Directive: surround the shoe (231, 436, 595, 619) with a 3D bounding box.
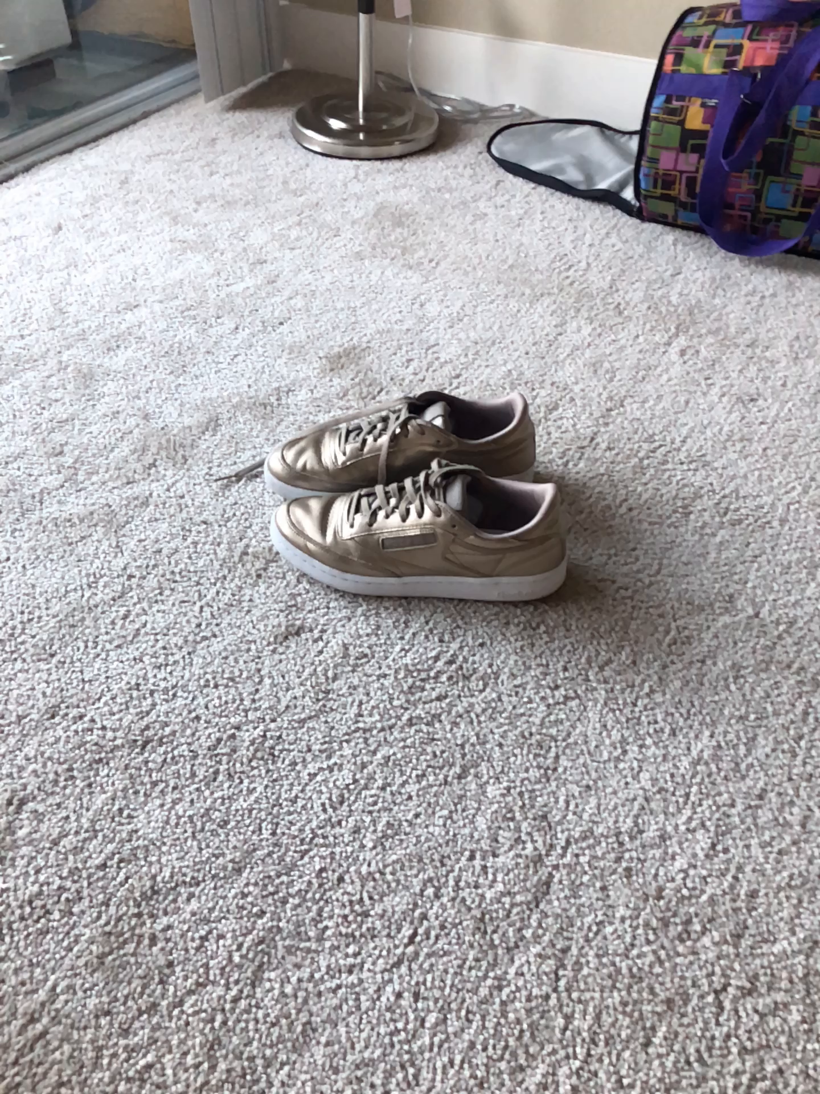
[{"bbox_3d":[0.006,-0.019,0.754,0.280,0.070,0.110,6,43,4],"label":"shoe"}]

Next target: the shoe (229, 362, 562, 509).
[{"bbox_3d":[-0.012,-0.103,0.823,0.280,0.070,0.110,2,43,0],"label":"shoe"}]
